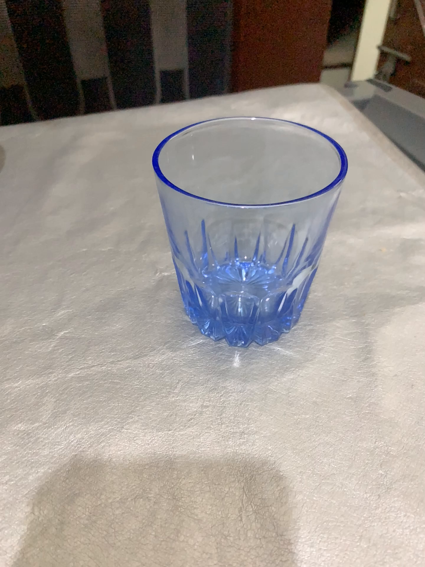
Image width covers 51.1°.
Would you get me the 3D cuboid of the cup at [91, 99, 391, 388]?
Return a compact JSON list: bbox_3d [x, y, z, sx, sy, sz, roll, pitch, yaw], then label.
[{"bbox_3d":[0.016,-0.025,0.198,0.090,0.070,0.090,0,41,0],"label":"cup"}]
